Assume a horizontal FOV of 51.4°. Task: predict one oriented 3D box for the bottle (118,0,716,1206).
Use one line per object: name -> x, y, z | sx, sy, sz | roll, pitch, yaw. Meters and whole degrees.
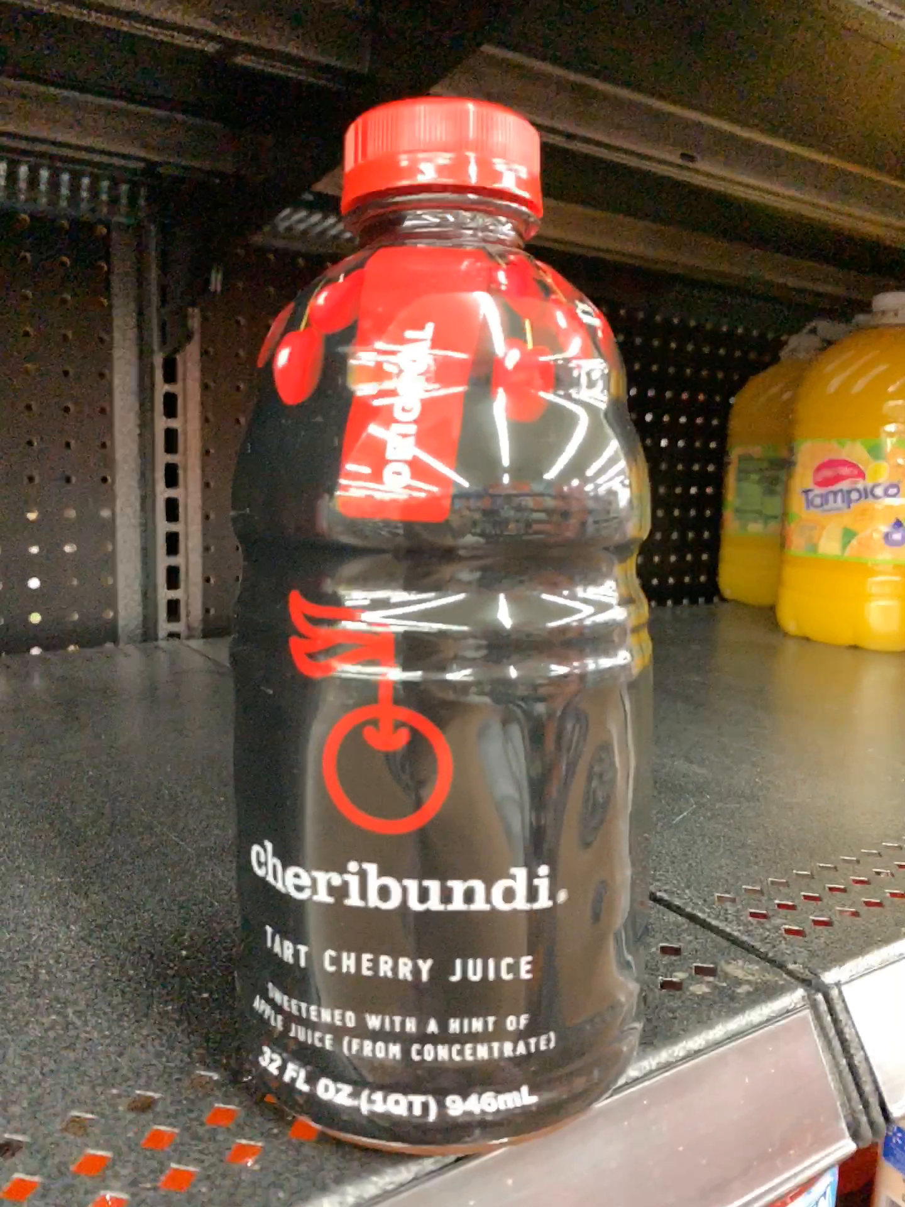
bottle -> -0.003, -0.001, 0.204 | 0.095, 0.205, 0.090 | 2, 8, 0
